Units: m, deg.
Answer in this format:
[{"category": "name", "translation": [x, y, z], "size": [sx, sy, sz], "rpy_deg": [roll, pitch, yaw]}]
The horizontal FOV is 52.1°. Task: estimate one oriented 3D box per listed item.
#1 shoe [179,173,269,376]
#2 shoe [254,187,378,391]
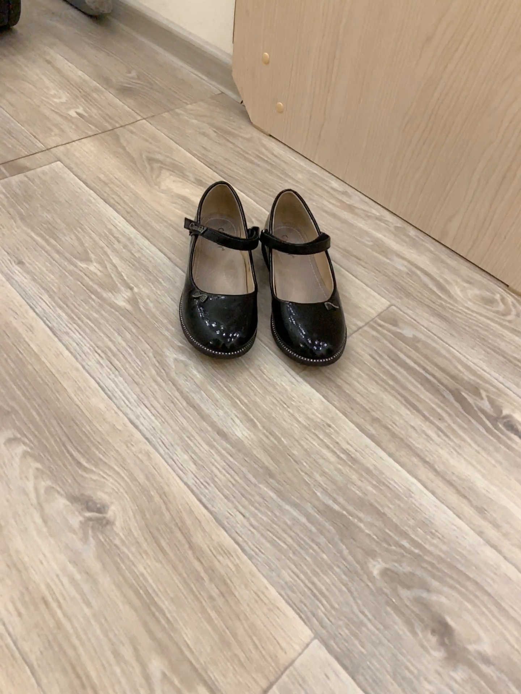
[{"category": "shoe", "translation": [-0.051, -0.095, 0.652], "size": [0.090, 0.100, 0.251], "rpy_deg": [0, 51, -7]}, {"category": "shoe", "translation": [0.056, -0.080, 0.655], "size": [0.090, 0.100, 0.251], "rpy_deg": [-2, 51, -9]}]
